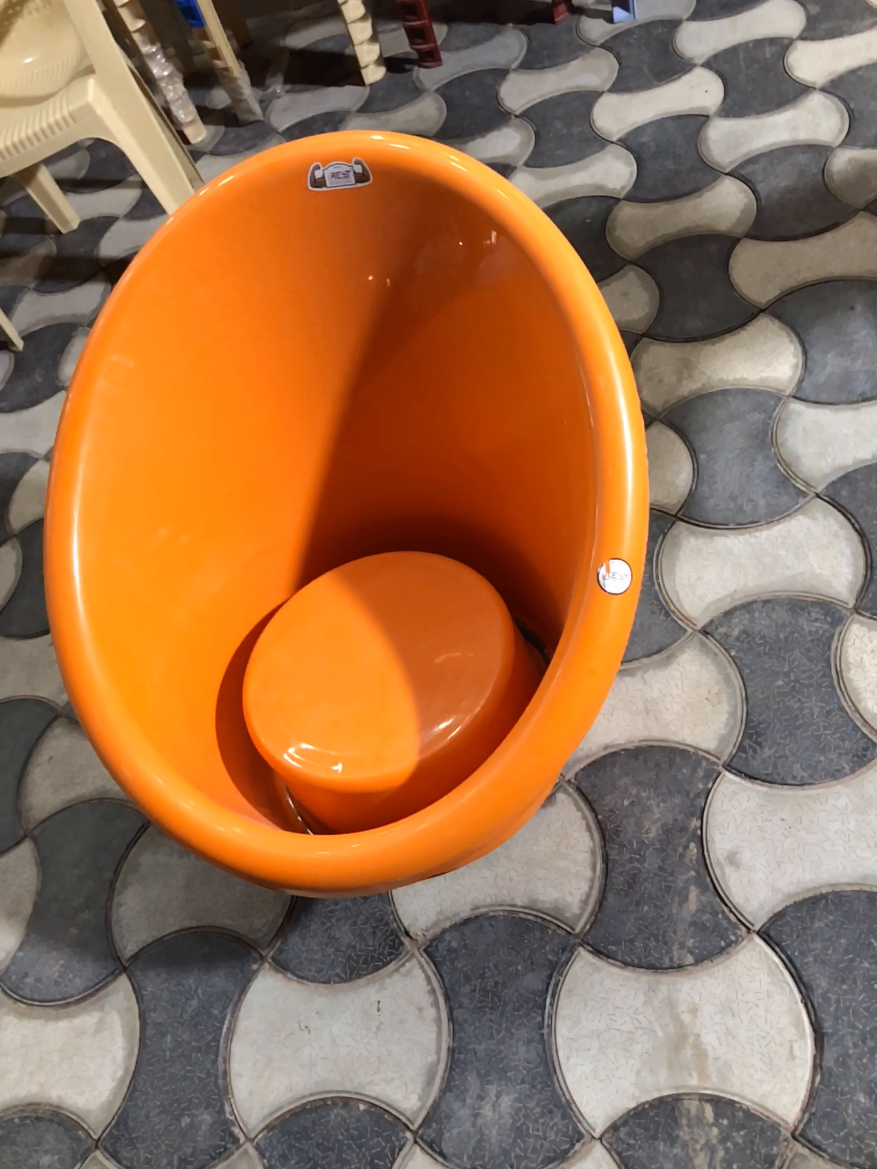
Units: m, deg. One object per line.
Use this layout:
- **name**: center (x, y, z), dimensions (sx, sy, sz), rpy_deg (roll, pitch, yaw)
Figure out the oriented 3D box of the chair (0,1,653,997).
- **chair**: center (-0.153, -0.058, 1.057), dimensions (0.660, 0.667, 0.724), rpy_deg (-2, 52, 19)
